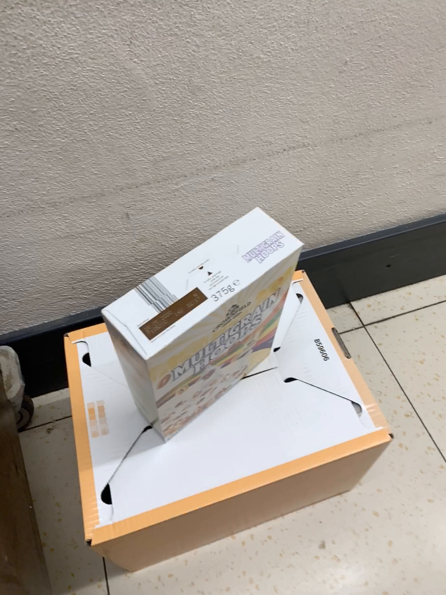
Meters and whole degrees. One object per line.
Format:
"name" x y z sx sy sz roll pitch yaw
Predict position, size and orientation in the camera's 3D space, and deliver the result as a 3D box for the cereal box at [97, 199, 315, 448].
"cereal box" -0.015 0.044 0.517 0.201 0.248 0.070 -37 66 -23
